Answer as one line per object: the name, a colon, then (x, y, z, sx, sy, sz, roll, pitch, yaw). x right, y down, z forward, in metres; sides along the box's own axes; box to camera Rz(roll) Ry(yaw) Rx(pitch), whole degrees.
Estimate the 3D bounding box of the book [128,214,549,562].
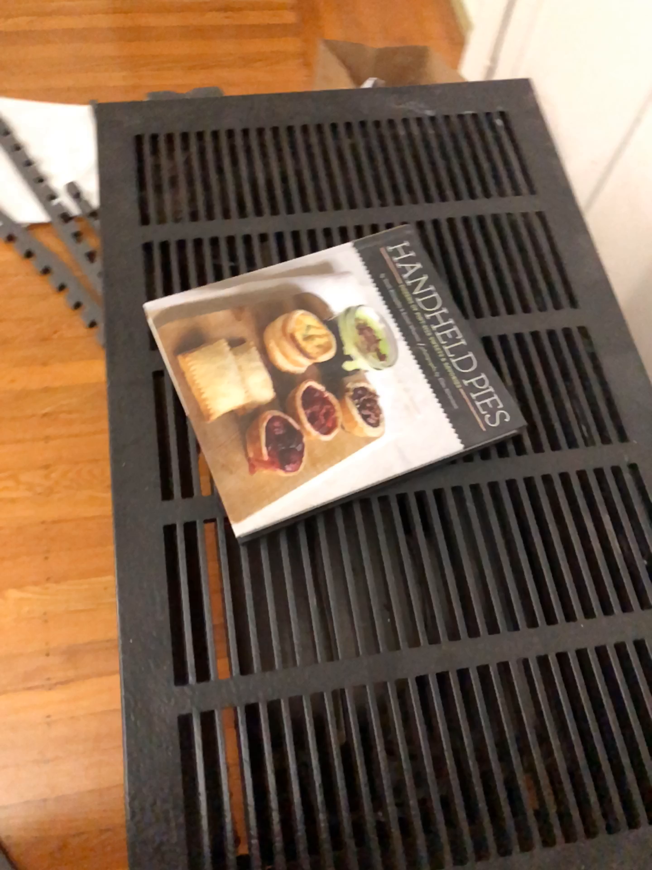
book: (0.005, -0.047, 0.505, 0.230, 0.020, 0.200, -20, 67, -14)
